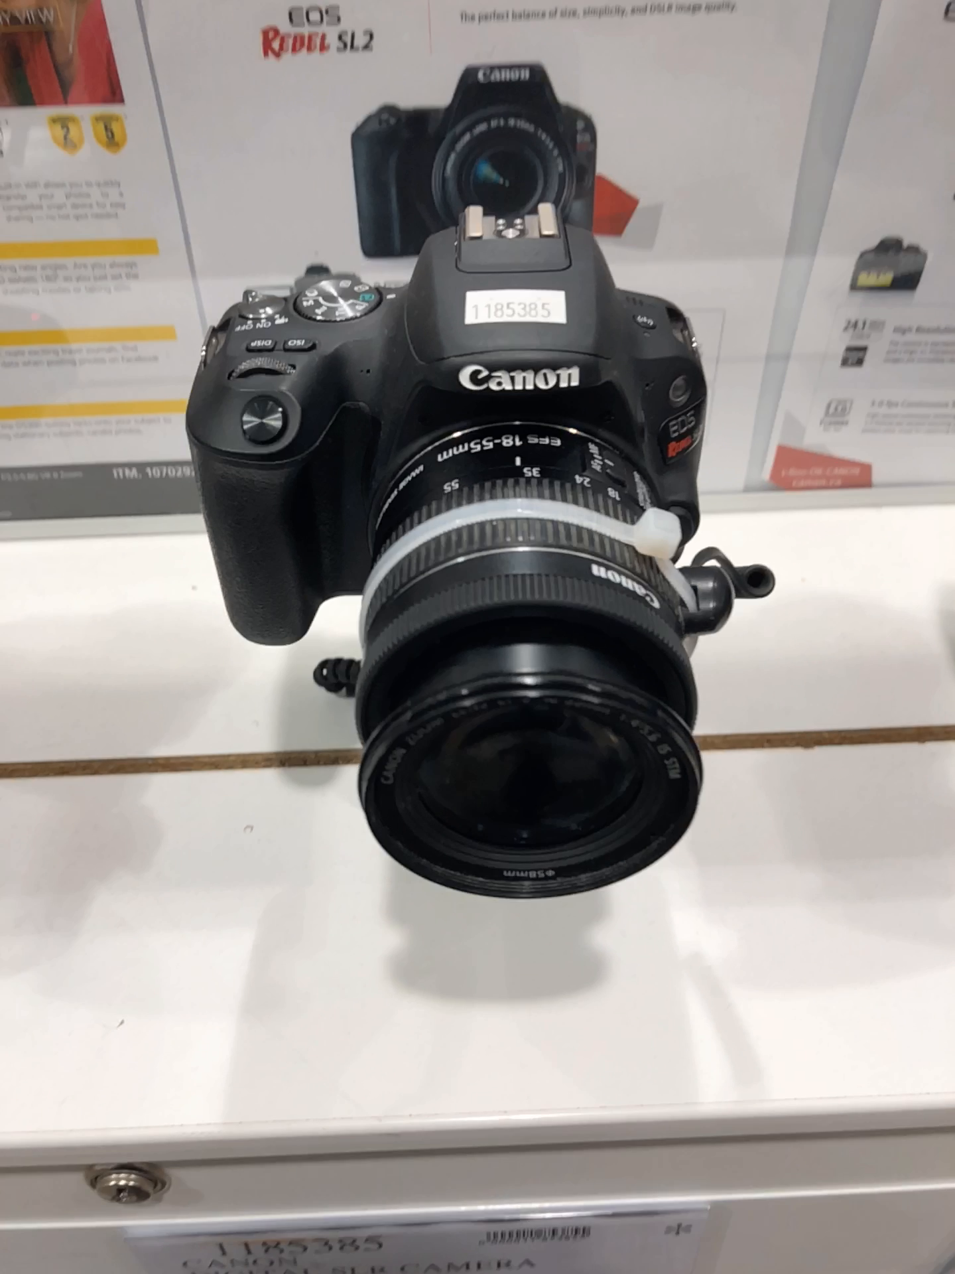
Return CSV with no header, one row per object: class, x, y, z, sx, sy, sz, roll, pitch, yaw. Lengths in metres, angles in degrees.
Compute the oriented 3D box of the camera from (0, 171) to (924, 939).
camera,-0.006,-0.026,0.228,0.130,0.090,0.140,-3,42,-2
